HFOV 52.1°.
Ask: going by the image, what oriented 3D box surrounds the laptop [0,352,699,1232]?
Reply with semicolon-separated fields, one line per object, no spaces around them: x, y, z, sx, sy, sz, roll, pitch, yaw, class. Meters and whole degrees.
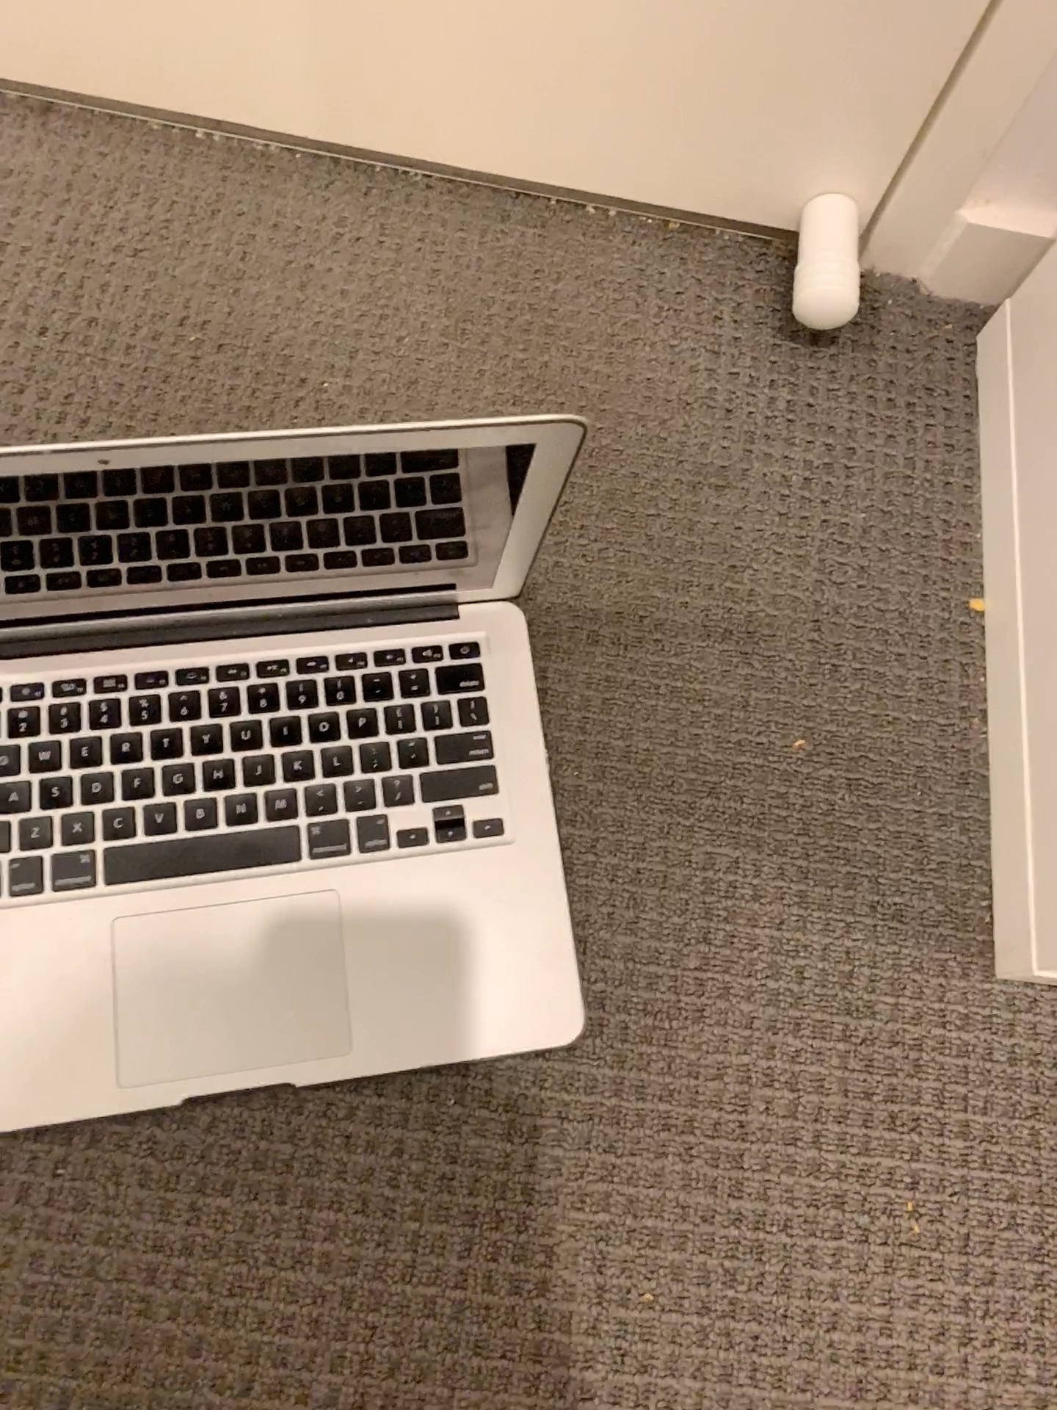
-0.137;0.036;0.421;0.322;0.215;0.226;-6;74;-8;laptop
